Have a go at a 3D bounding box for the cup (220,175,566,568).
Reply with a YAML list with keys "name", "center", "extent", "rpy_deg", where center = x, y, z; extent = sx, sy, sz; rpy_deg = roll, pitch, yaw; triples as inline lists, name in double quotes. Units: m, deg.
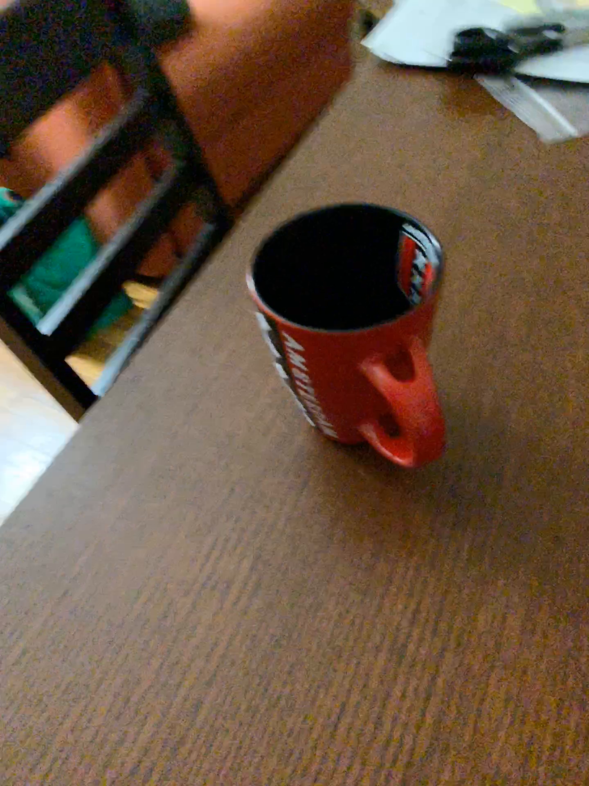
- name: "cup"
  center: [0.036, -0.012, 0.283]
  extent: [0.090, 0.100, 0.131]
  rpy_deg: [-20, 52, -7]
